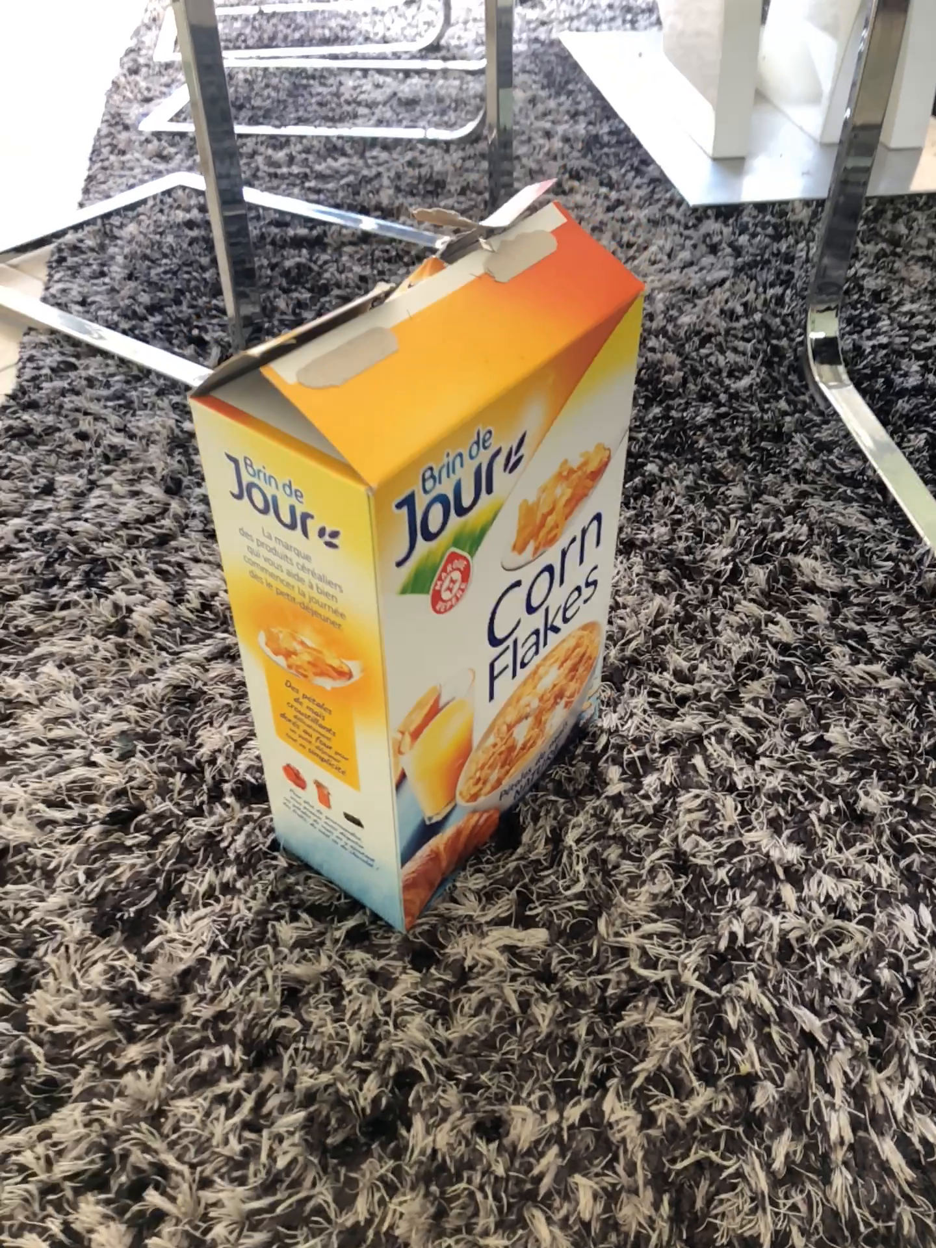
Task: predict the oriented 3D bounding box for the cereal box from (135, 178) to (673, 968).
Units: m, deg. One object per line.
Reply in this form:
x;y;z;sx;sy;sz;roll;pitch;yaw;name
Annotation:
-0.013;-0.017;0.495;0.100;0.308;0.201;26;48;27;cereal box
